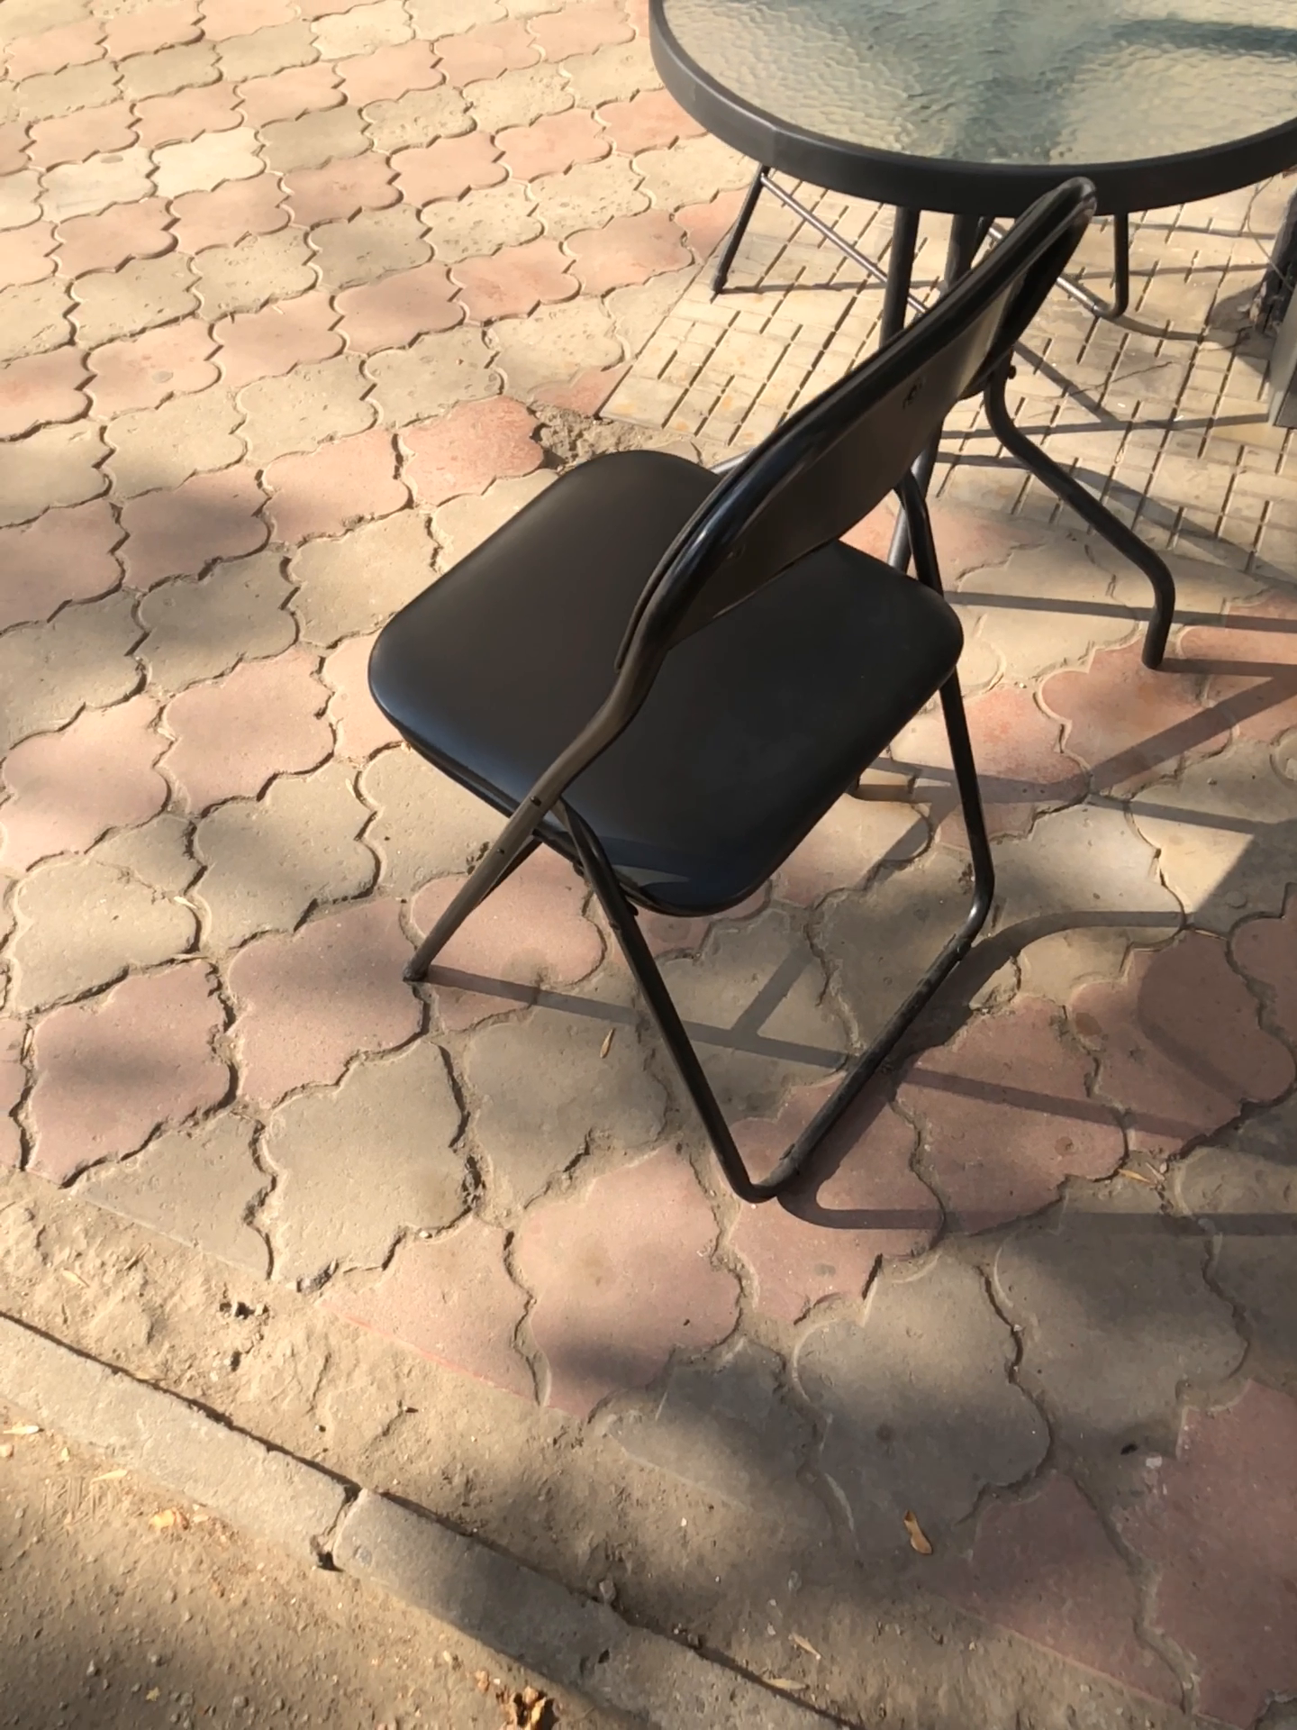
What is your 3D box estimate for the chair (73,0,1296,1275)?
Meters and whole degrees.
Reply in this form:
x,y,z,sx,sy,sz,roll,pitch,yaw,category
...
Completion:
x,y,z,sx,sy,sz,roll,pitch,yaw,category
0.043,-0.161,1.081,0.501,0.638,0.531,31,59,23,chair
